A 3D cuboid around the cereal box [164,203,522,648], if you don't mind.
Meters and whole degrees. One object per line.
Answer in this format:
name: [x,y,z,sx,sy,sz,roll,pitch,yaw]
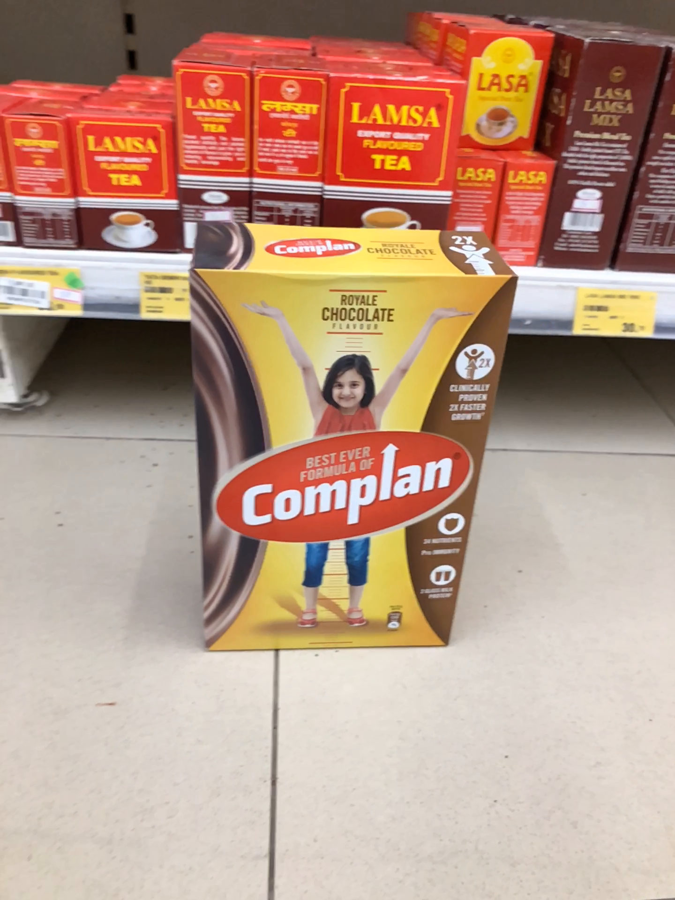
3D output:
cereal box: [-0.005,-0.003,0.429,0.160,0.248,0.070,0,32,-6]
